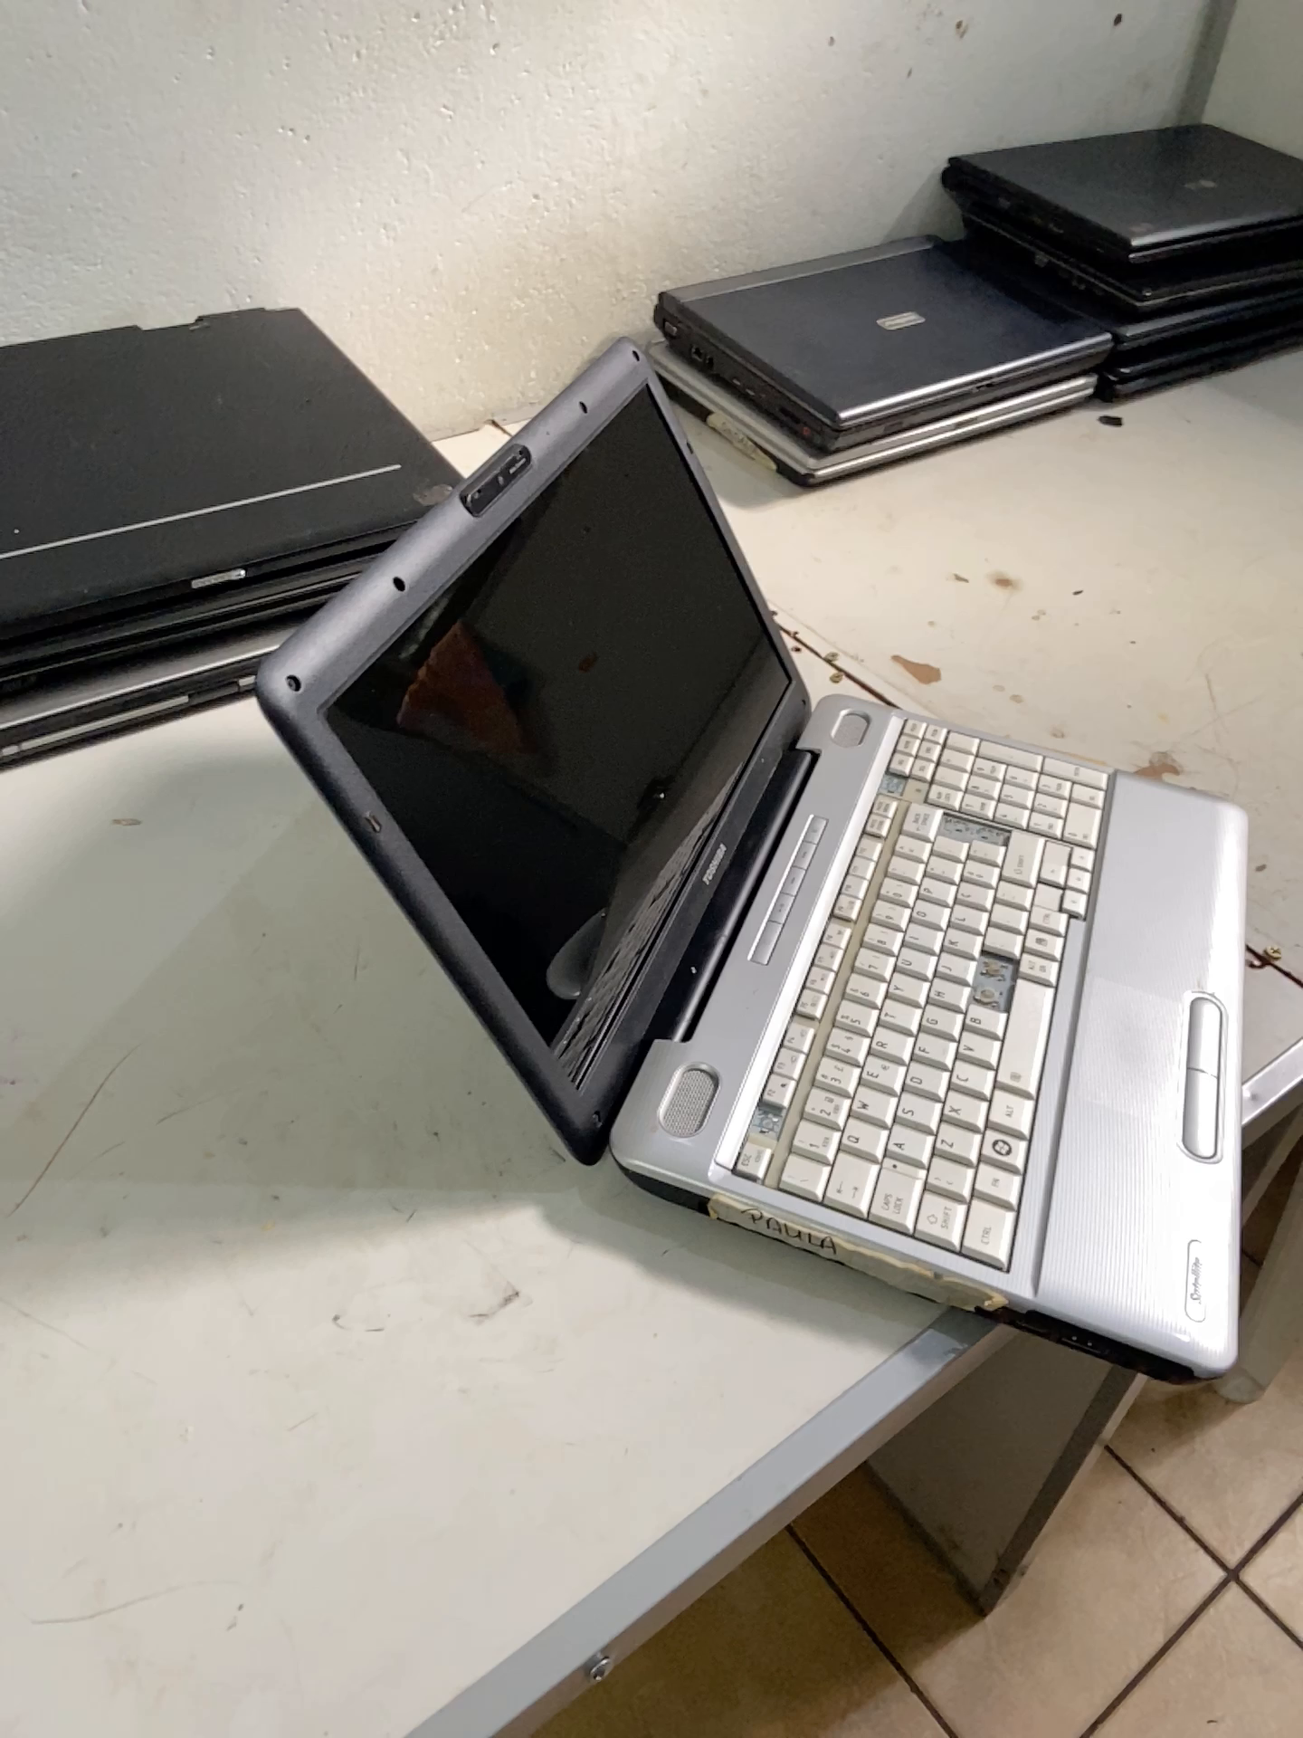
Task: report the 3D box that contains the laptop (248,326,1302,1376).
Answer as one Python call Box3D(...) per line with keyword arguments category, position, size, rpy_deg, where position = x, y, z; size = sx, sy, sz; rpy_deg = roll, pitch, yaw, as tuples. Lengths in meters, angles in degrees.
Box3D(category="laptop", position=(0.102, -0.052, 0.615), size=(0.399, 0.190, 0.373), rpy_deg=(17, 43, 12))
